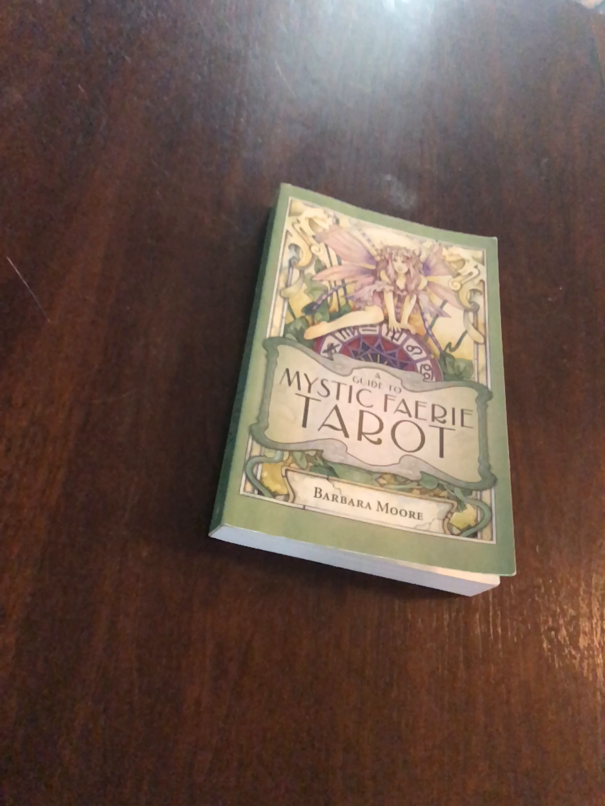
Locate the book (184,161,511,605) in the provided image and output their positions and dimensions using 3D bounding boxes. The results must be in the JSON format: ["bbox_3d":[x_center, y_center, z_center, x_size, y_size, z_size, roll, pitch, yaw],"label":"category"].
[{"bbox_3d":[0.032,-0.018,0.343,0.139,0.032,0.209,15,59,-12],"label":"book"}]
